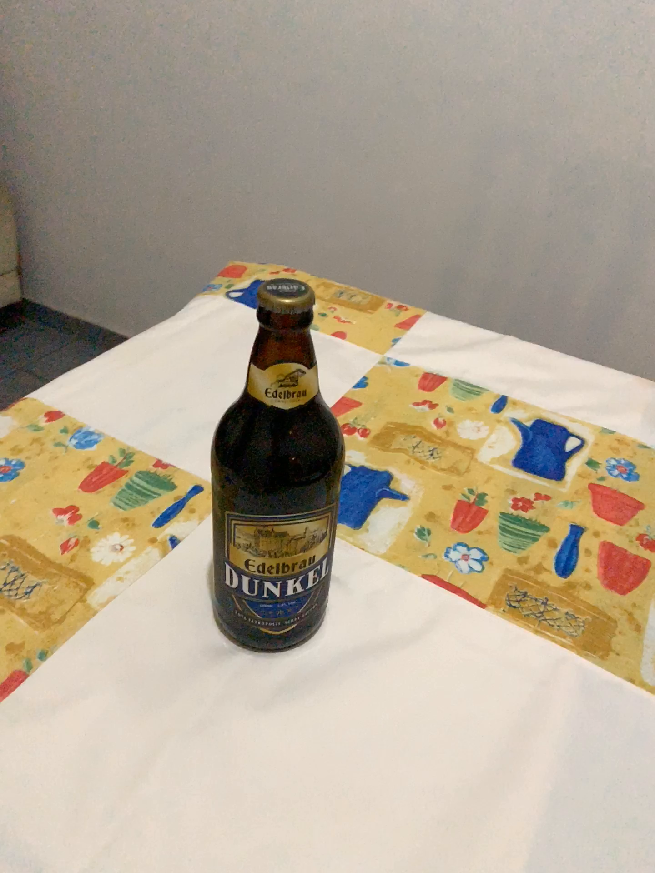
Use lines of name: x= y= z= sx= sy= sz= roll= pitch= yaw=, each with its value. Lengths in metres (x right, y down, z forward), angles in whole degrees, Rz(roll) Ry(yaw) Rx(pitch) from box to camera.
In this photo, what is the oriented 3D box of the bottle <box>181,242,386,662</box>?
bottle: x=-0.031 y=0.016 z=0.365 sx=0.080 sy=0.219 sz=0.080 roll=4 pitch=36 yaw=-3
